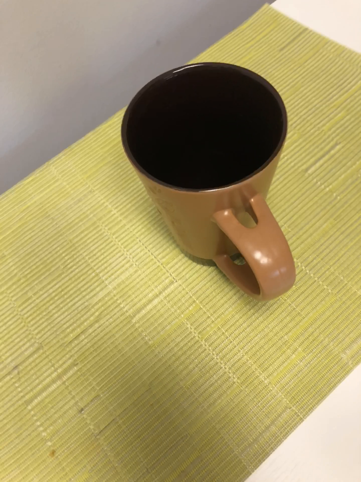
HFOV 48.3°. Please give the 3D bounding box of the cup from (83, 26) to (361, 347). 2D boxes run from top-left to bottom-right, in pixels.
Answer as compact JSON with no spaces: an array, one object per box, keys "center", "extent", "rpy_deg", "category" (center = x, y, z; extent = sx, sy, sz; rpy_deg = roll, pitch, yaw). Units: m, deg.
[{"center":[0.024,-0.026,0.247],"extent":[0.090,0.120,0.126],"rpy_deg":[-29,62,-7],"category":"cup"}]
